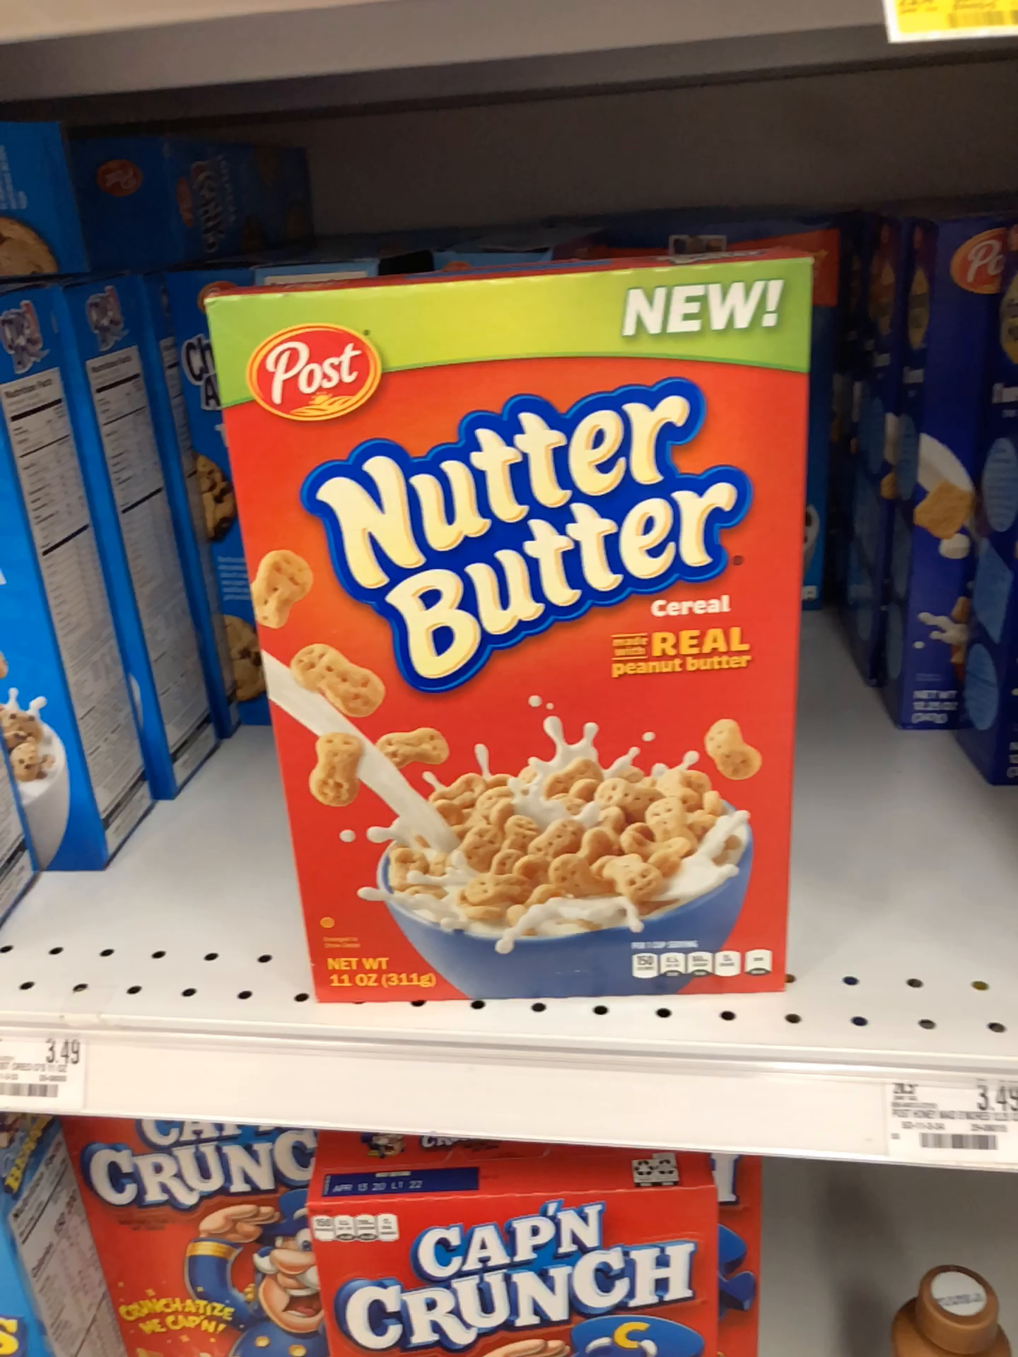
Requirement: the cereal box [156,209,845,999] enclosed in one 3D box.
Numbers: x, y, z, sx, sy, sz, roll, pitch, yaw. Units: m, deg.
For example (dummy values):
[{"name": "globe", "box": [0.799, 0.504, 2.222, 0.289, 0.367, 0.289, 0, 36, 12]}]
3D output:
[{"name": "cereal box", "box": [0.006, -0.018, 0.410, 0.200, 0.269, 0.070, -2, 23, 5]}]
